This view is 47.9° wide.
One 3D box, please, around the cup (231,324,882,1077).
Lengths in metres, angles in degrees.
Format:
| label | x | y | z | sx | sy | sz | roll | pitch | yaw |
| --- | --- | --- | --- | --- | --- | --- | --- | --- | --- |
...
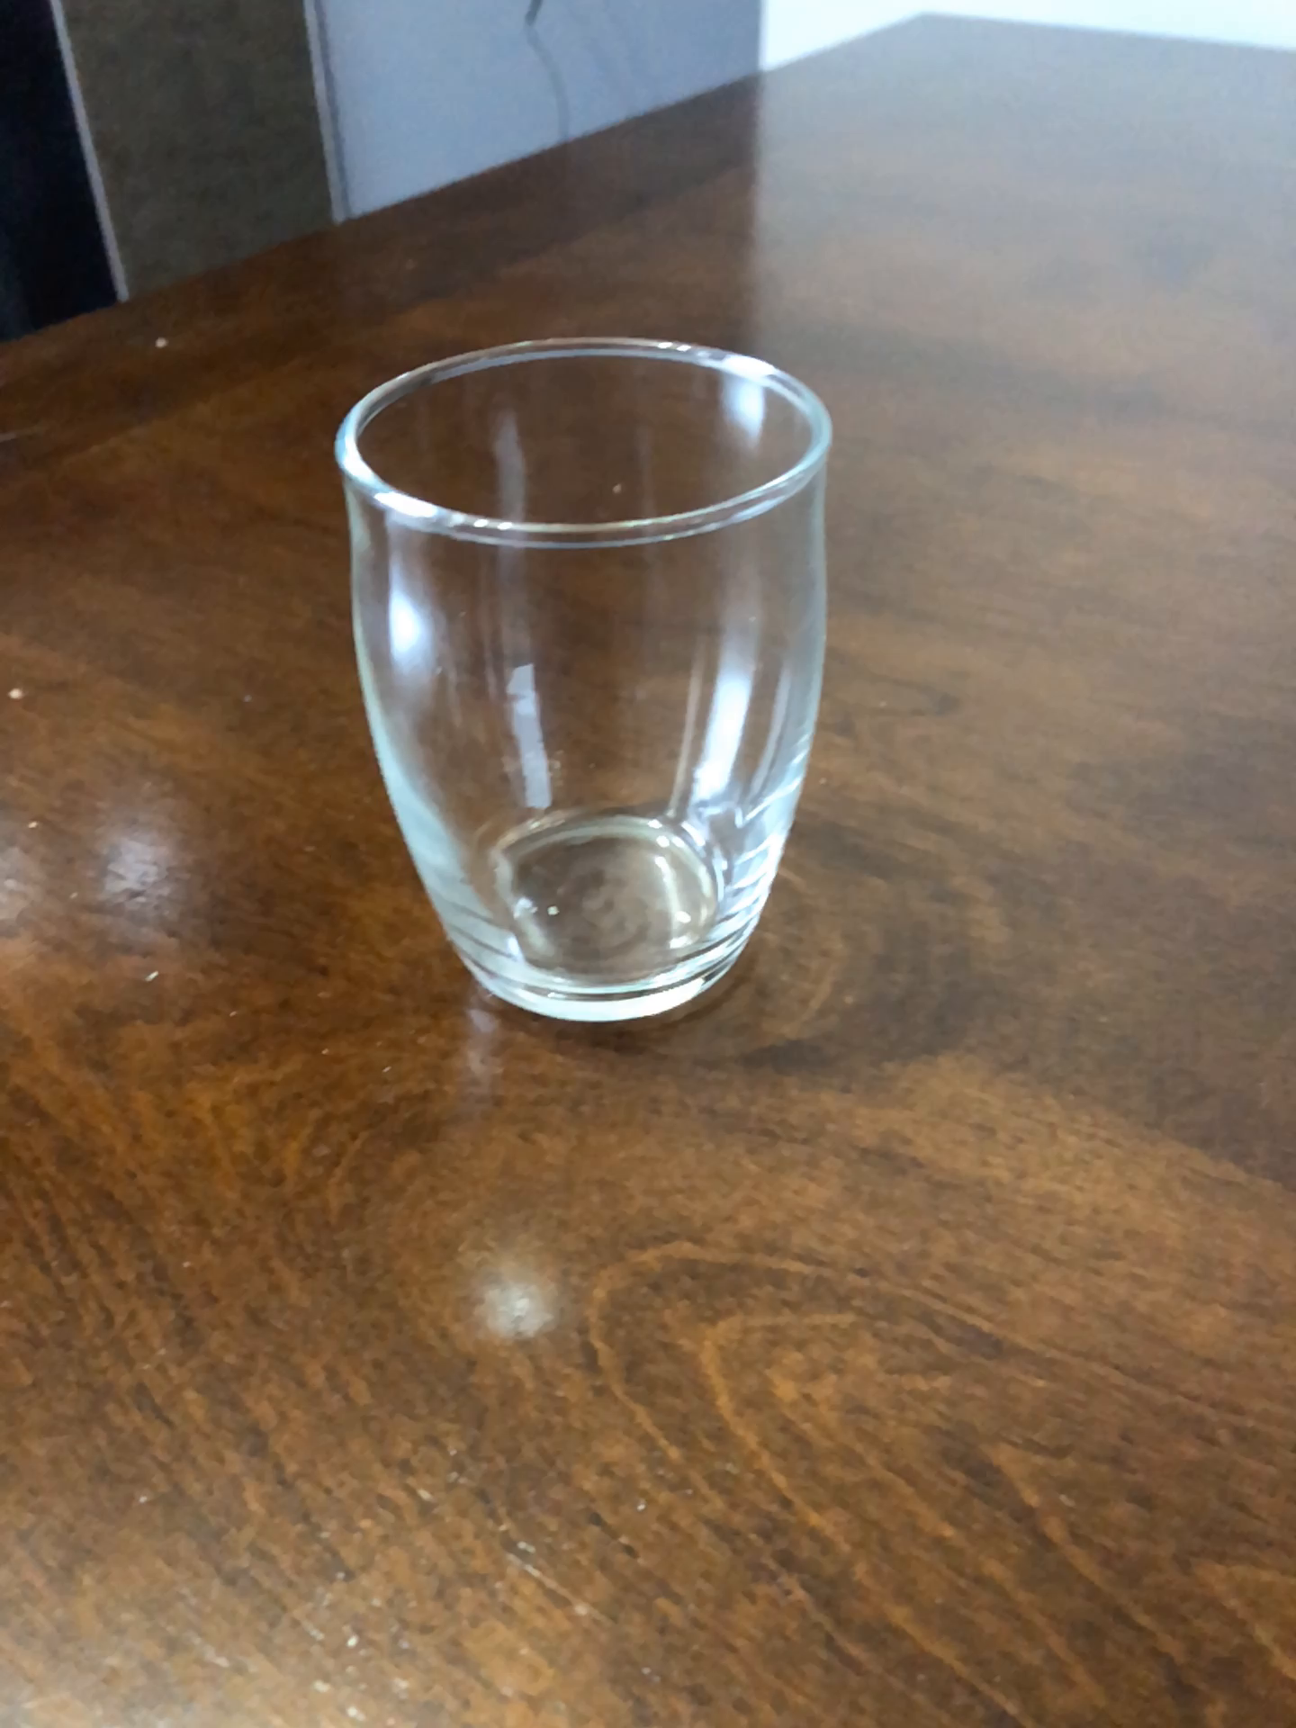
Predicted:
| label | x | y | z | sx | sy | sz | roll | pitch | yaw |
| --- | --- | --- | --- | --- | --- | --- | --- | --- | --- |
| cup | -0.007 | -0.023 | 0.191 | 0.060 | 0.070 | 0.060 | -1 | 39 | 0 |
